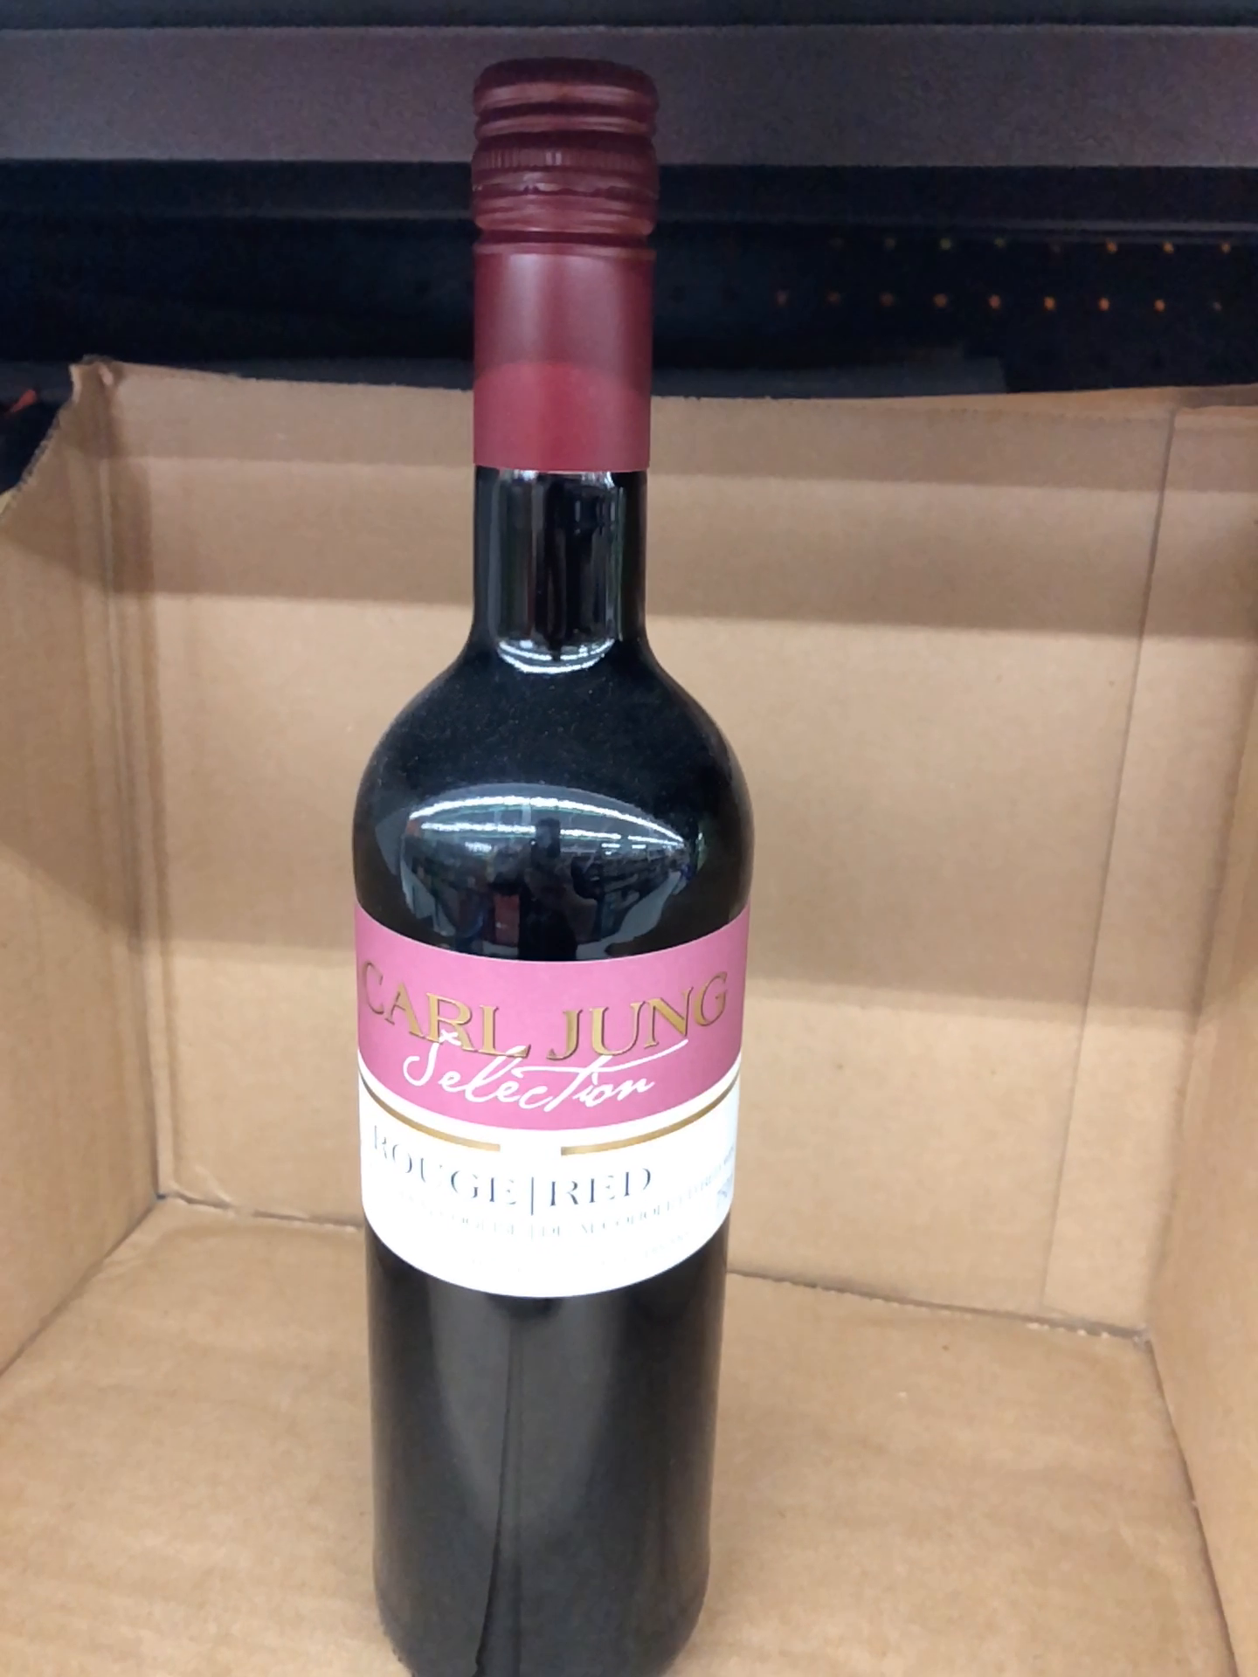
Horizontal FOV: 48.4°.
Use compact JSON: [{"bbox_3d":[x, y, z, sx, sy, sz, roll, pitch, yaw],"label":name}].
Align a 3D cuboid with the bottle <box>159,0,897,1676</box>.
[{"bbox_3d":[-0.012,0.025,0.262,0.090,0.308,0.080,6,20,14],"label":"bottle"}]
